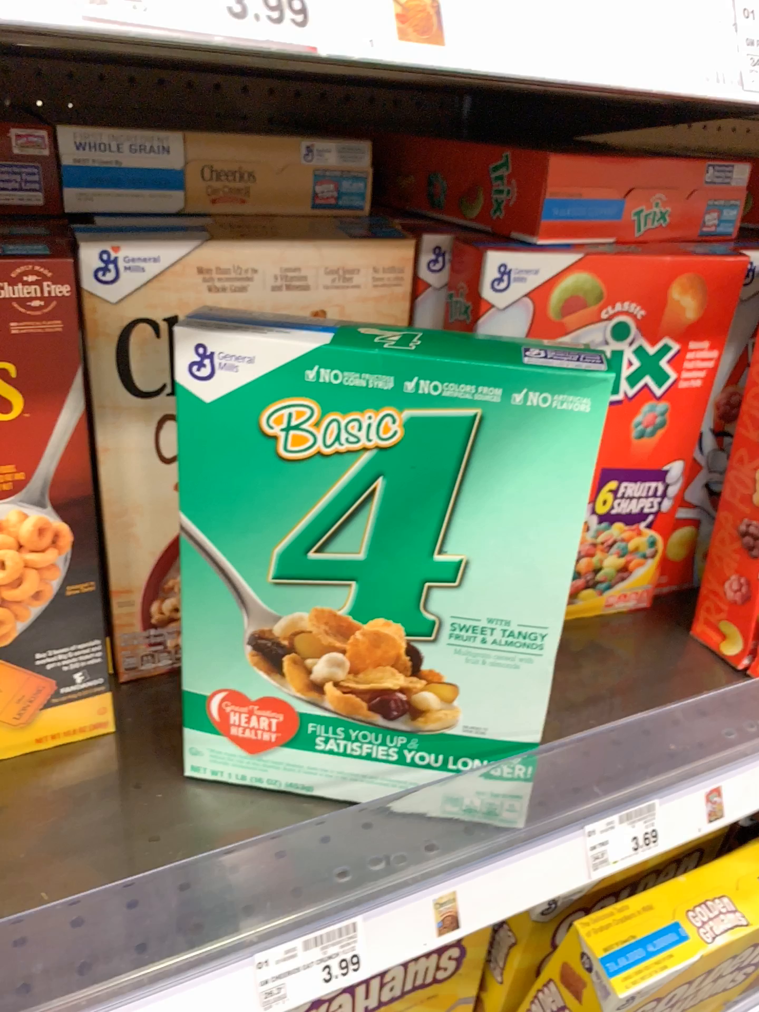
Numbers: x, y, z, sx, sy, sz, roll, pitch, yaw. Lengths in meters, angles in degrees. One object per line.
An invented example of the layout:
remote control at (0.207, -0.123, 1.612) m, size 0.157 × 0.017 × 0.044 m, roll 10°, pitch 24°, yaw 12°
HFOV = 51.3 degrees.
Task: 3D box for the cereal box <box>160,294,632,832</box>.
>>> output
cereal box at (-0.003, 0.037, 0.406) m, size 0.200 × 0.259 × 0.050 m, roll 7°, pitch 24°, yaw 4°
